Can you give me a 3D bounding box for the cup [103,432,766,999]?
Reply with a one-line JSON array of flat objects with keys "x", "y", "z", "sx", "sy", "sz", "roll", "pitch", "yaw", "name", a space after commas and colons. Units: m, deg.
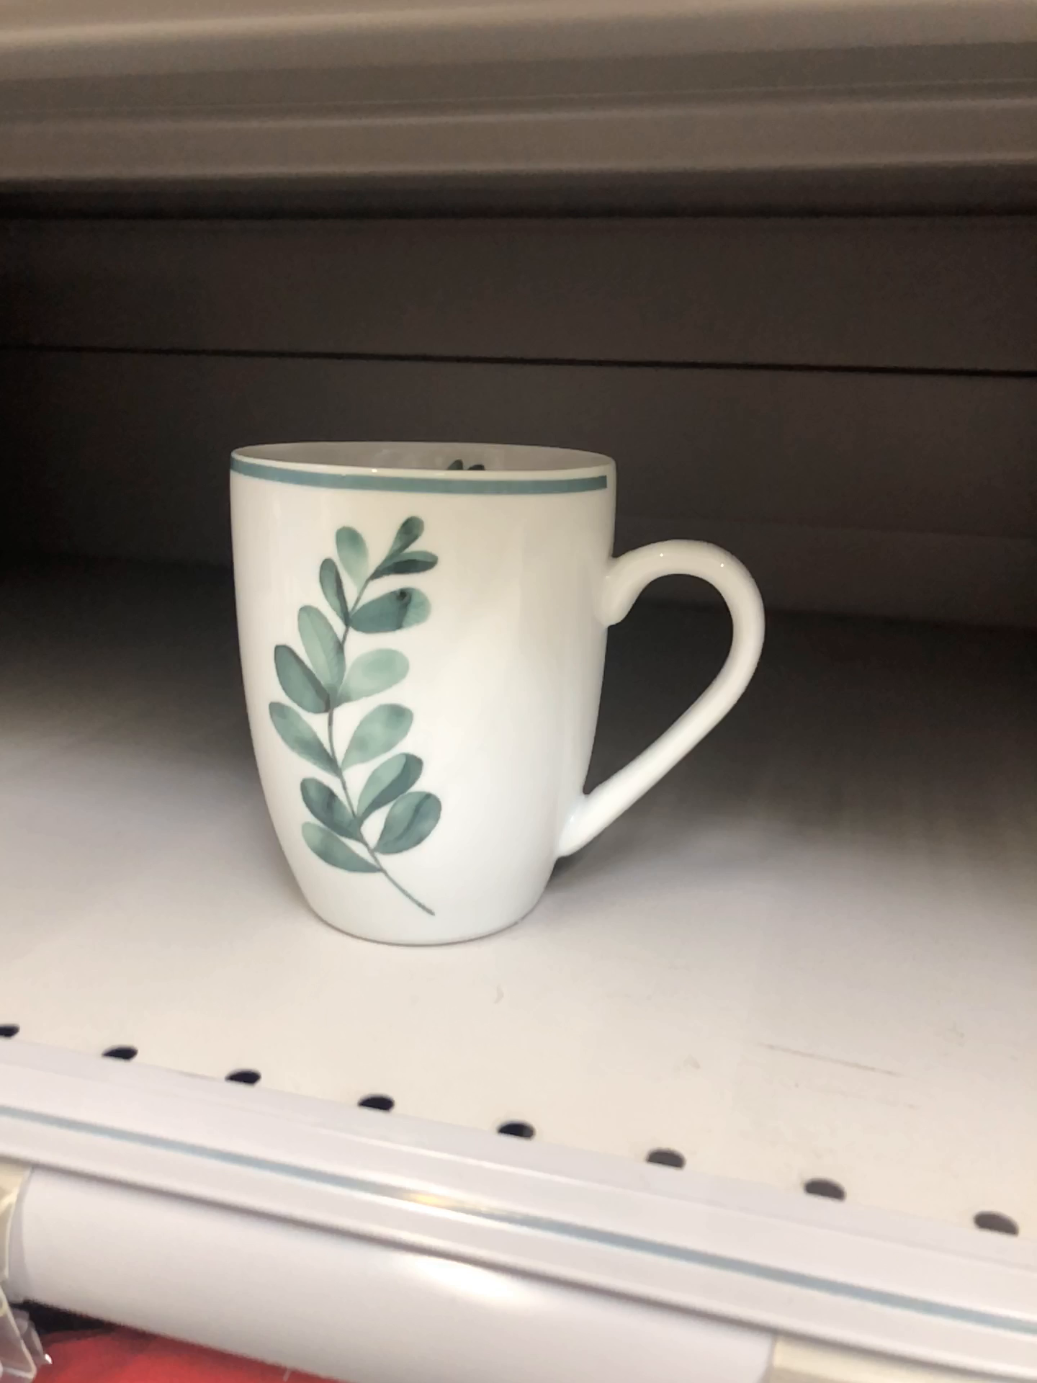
[{"x": -0.013, "y": -0.005, "z": 0.253, "sx": 0.116, "sy": 0.093, "sz": 0.082, "roll": 6, "pitch": 16, "yaw": 17, "name": "cup"}]
